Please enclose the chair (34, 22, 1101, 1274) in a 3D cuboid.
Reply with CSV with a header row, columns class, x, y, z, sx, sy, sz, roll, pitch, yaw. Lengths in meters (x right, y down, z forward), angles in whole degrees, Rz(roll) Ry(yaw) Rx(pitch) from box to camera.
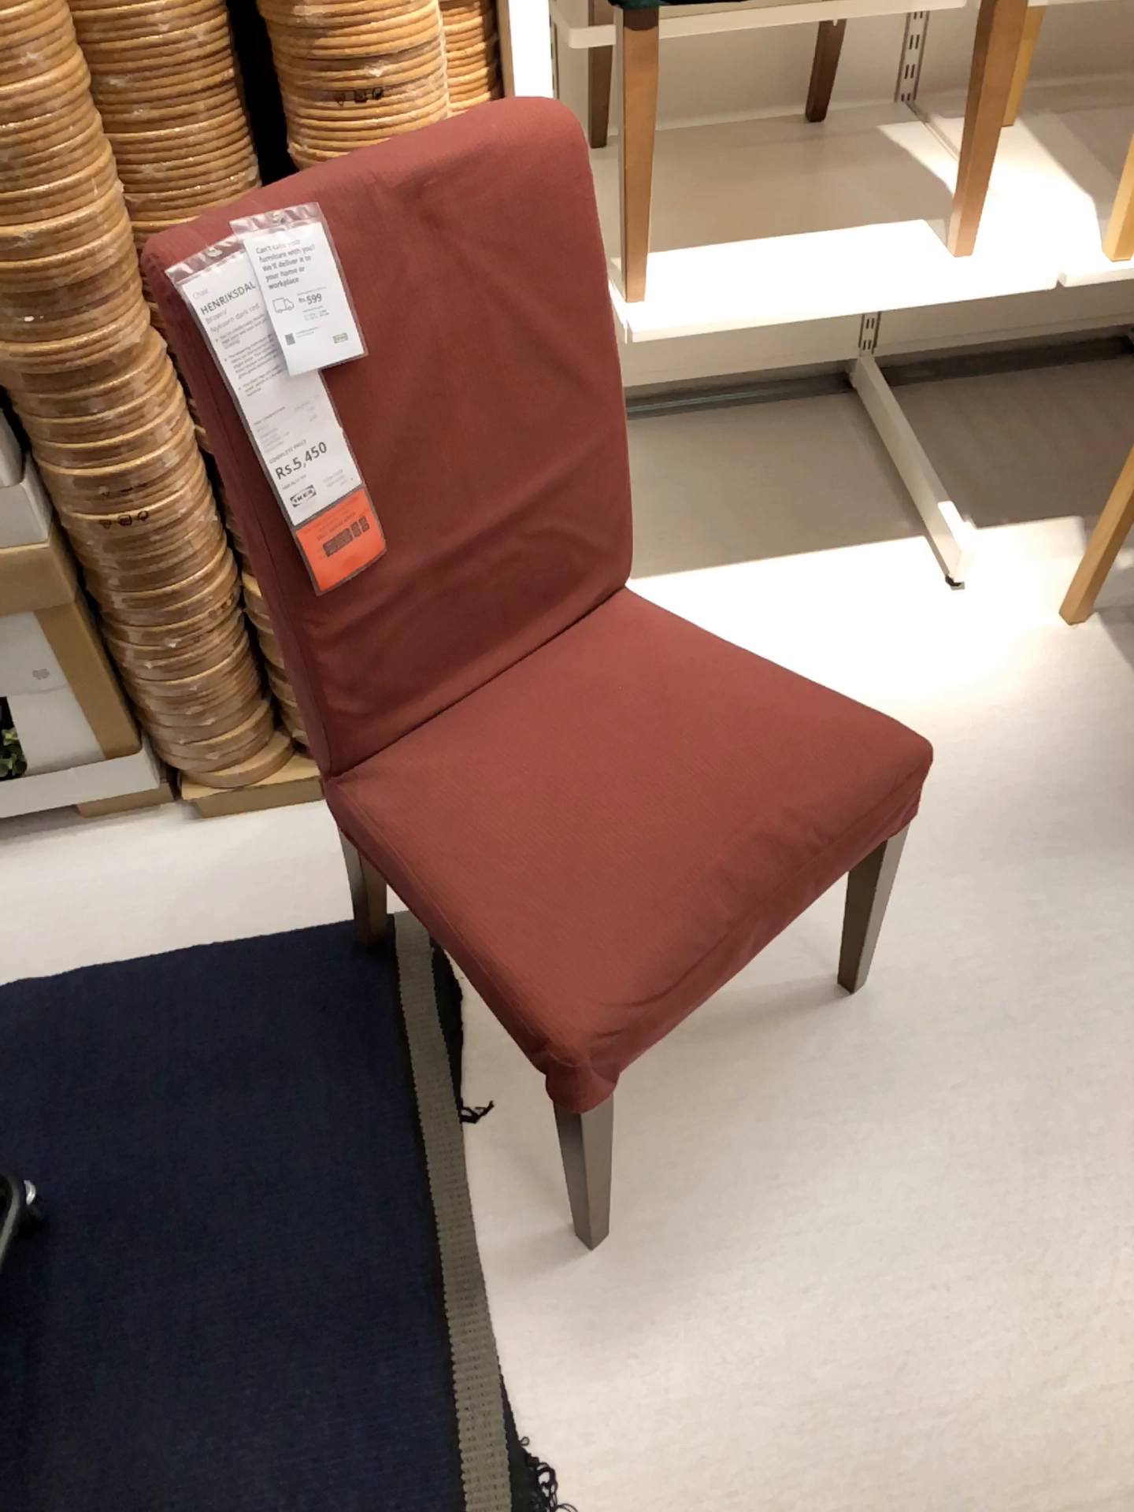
class,x,y,z,sx,sy,sz,roll,pitch,yaw
chair,0.010,-0.047,1.234,0.521,0.994,0.532,-36,56,-26
